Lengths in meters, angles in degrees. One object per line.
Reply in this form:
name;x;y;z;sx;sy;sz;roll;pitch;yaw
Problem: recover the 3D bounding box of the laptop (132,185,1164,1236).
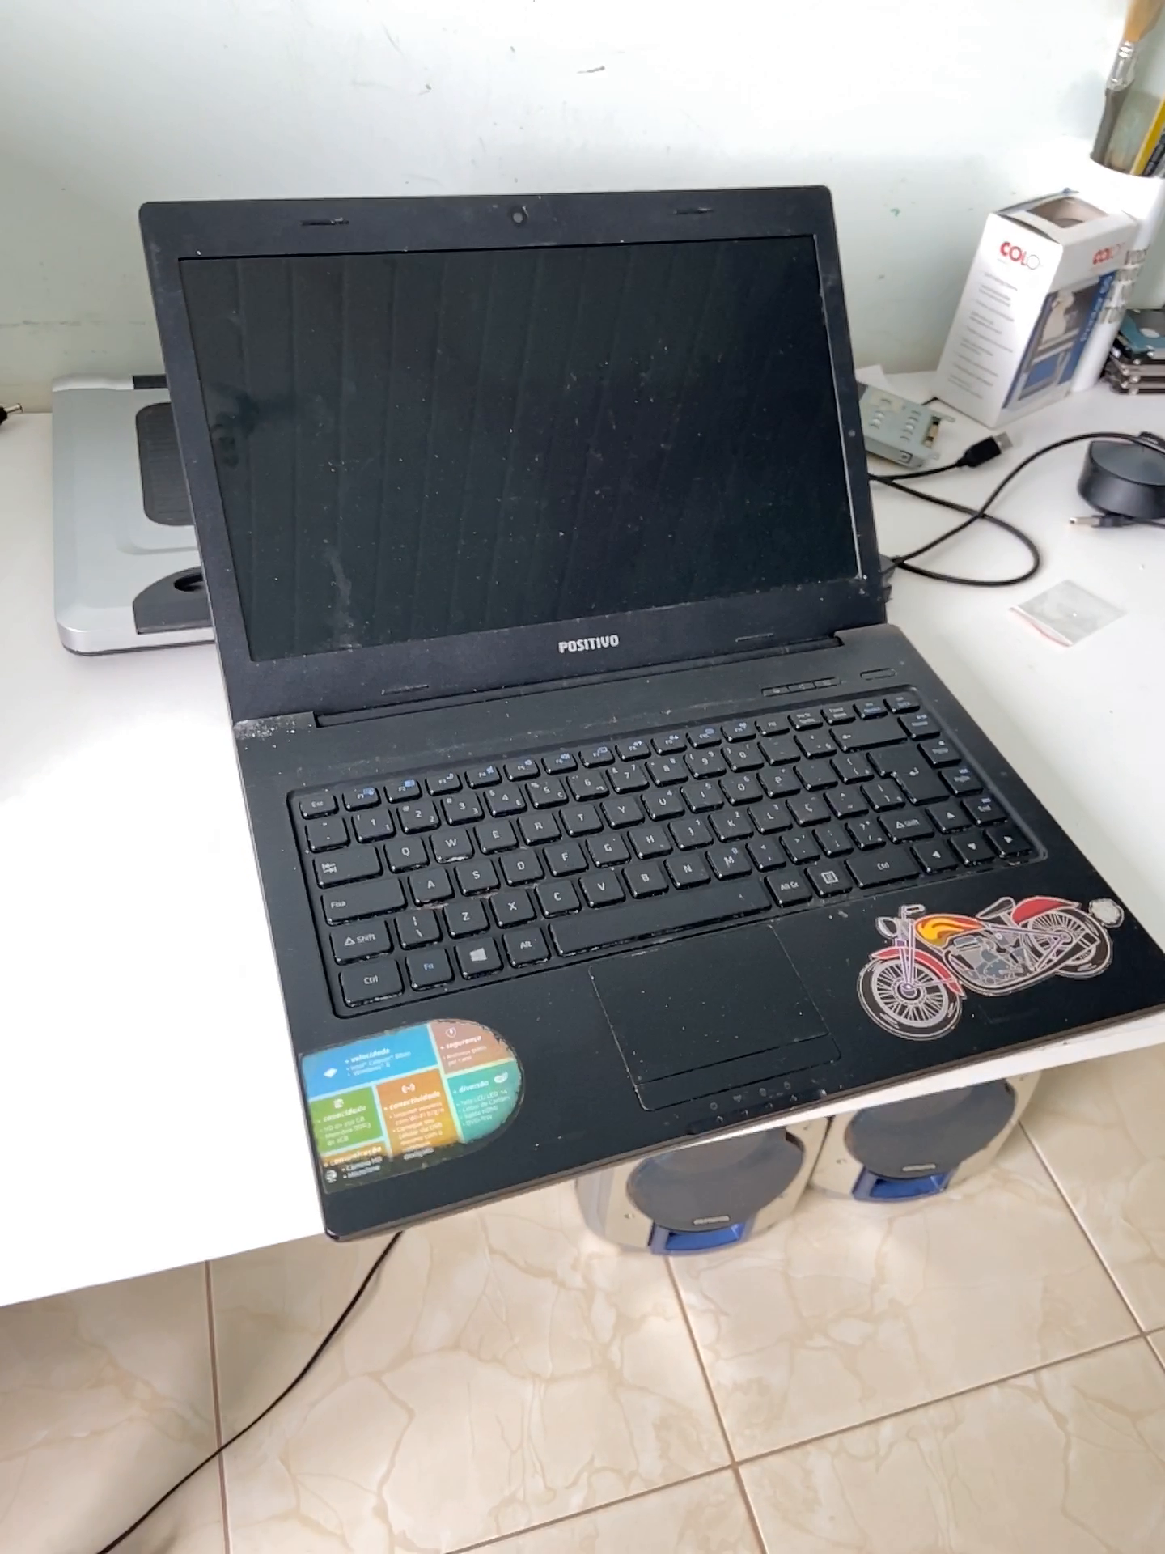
laptop;0.022;-0.081;0.487;0.335;0.162;0.394;-10;47;-17
